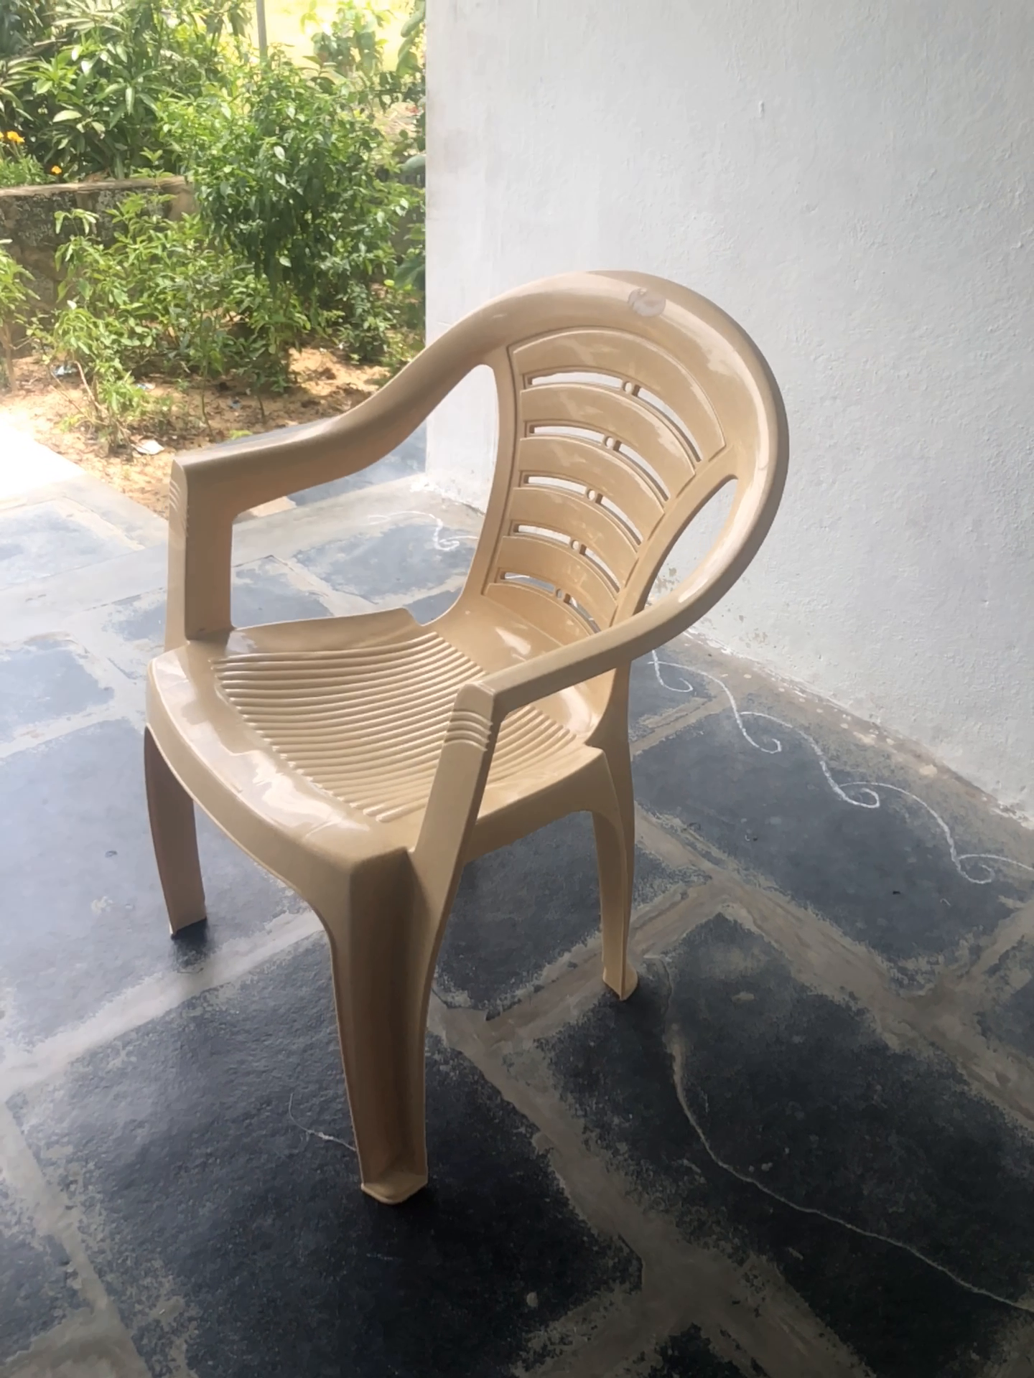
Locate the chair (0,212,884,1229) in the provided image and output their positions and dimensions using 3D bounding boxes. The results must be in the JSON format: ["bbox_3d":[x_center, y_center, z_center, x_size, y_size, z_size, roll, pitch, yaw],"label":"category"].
[{"bbox_3d":[-0.121,-0.042,1.248,0.653,0.736,0.621,-27,44,-37],"label":"chair"}]
